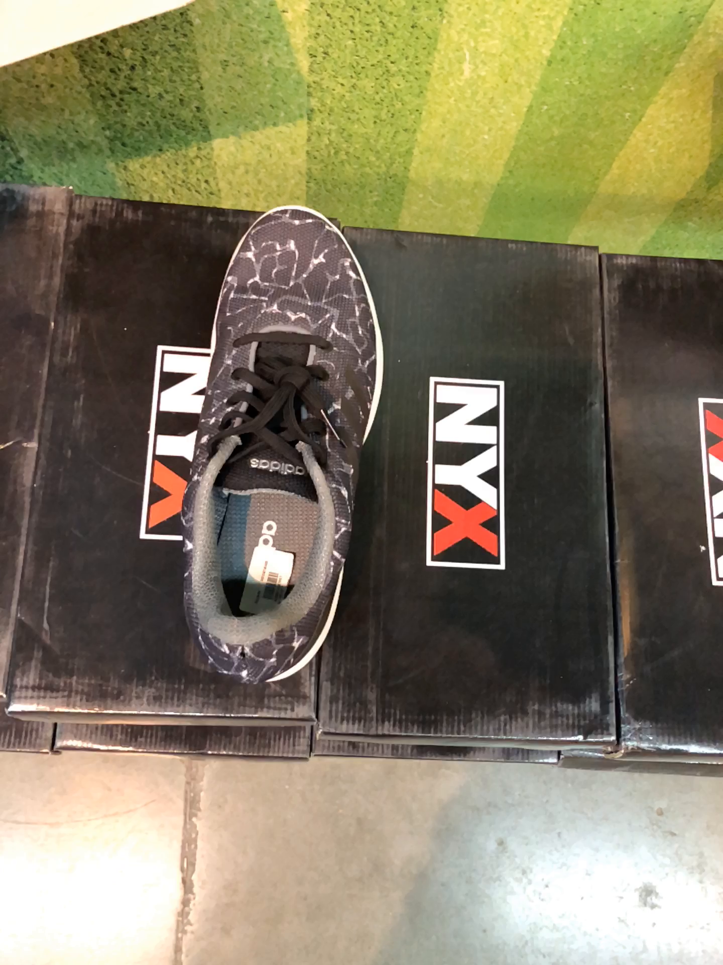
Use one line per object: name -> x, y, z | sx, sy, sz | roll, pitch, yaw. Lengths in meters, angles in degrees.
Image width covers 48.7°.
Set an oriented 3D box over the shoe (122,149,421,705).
shoe -> -0.040, -0.022, 0.431 | 0.108, 0.122, 0.261 | 6, 76, -3
